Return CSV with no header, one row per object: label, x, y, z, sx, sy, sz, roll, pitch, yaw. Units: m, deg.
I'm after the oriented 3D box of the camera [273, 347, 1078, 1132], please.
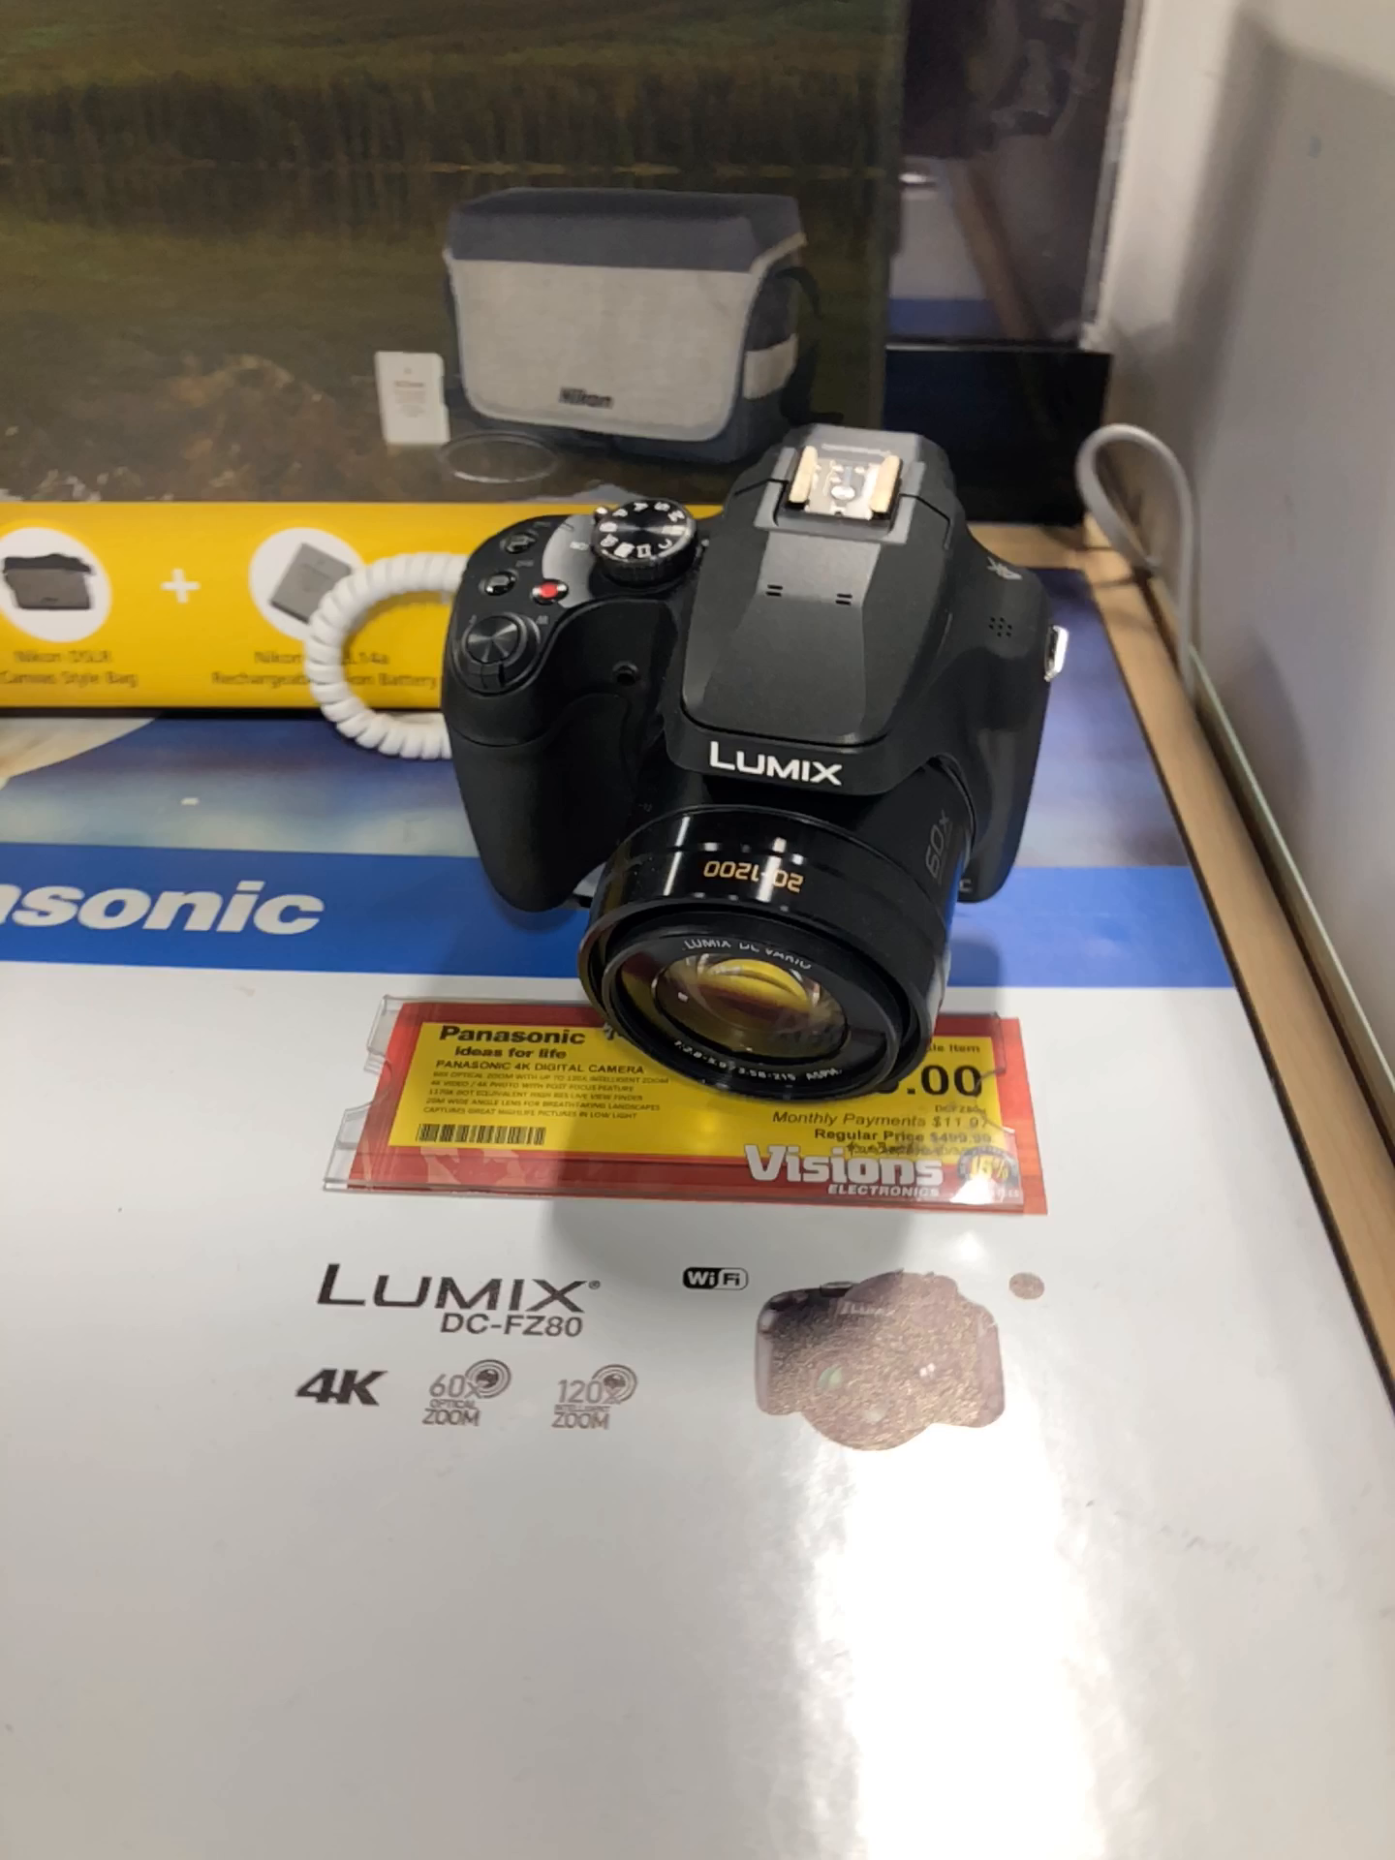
camera,0.004,-0.038,0.300,0.120,0.099,0.101,6,50,9
